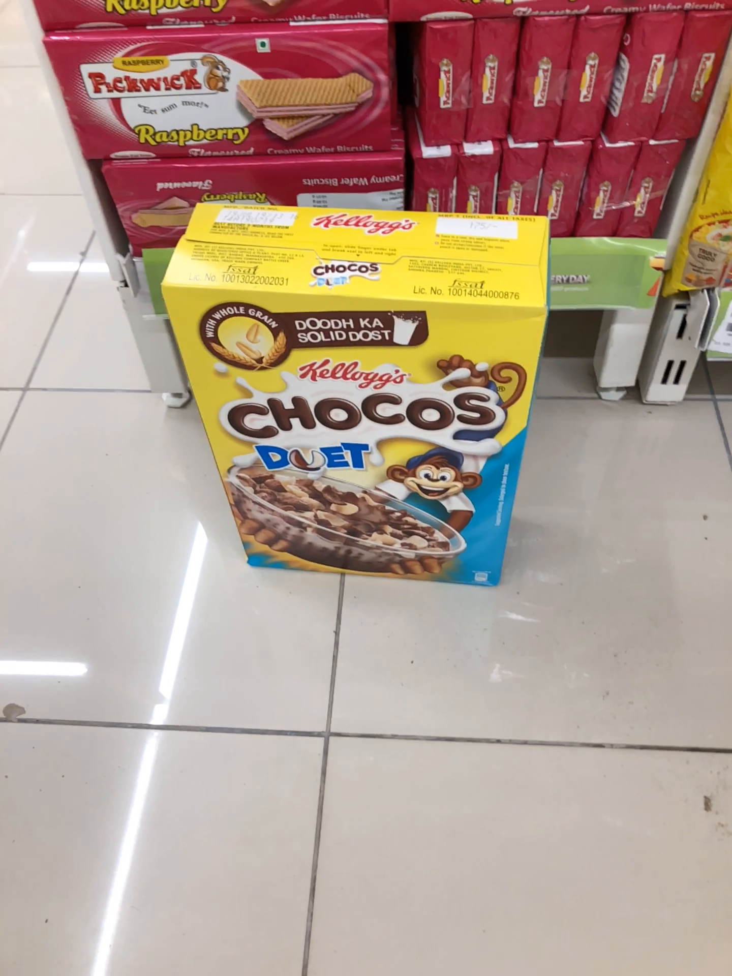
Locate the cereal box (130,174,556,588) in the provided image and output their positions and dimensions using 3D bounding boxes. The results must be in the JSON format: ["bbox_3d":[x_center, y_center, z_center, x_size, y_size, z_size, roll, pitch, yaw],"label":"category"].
[{"bbox_3d":[-0.002,-0.046,0.478,0.190,0.259,0.070,4,53,7],"label":"cereal box"}]
